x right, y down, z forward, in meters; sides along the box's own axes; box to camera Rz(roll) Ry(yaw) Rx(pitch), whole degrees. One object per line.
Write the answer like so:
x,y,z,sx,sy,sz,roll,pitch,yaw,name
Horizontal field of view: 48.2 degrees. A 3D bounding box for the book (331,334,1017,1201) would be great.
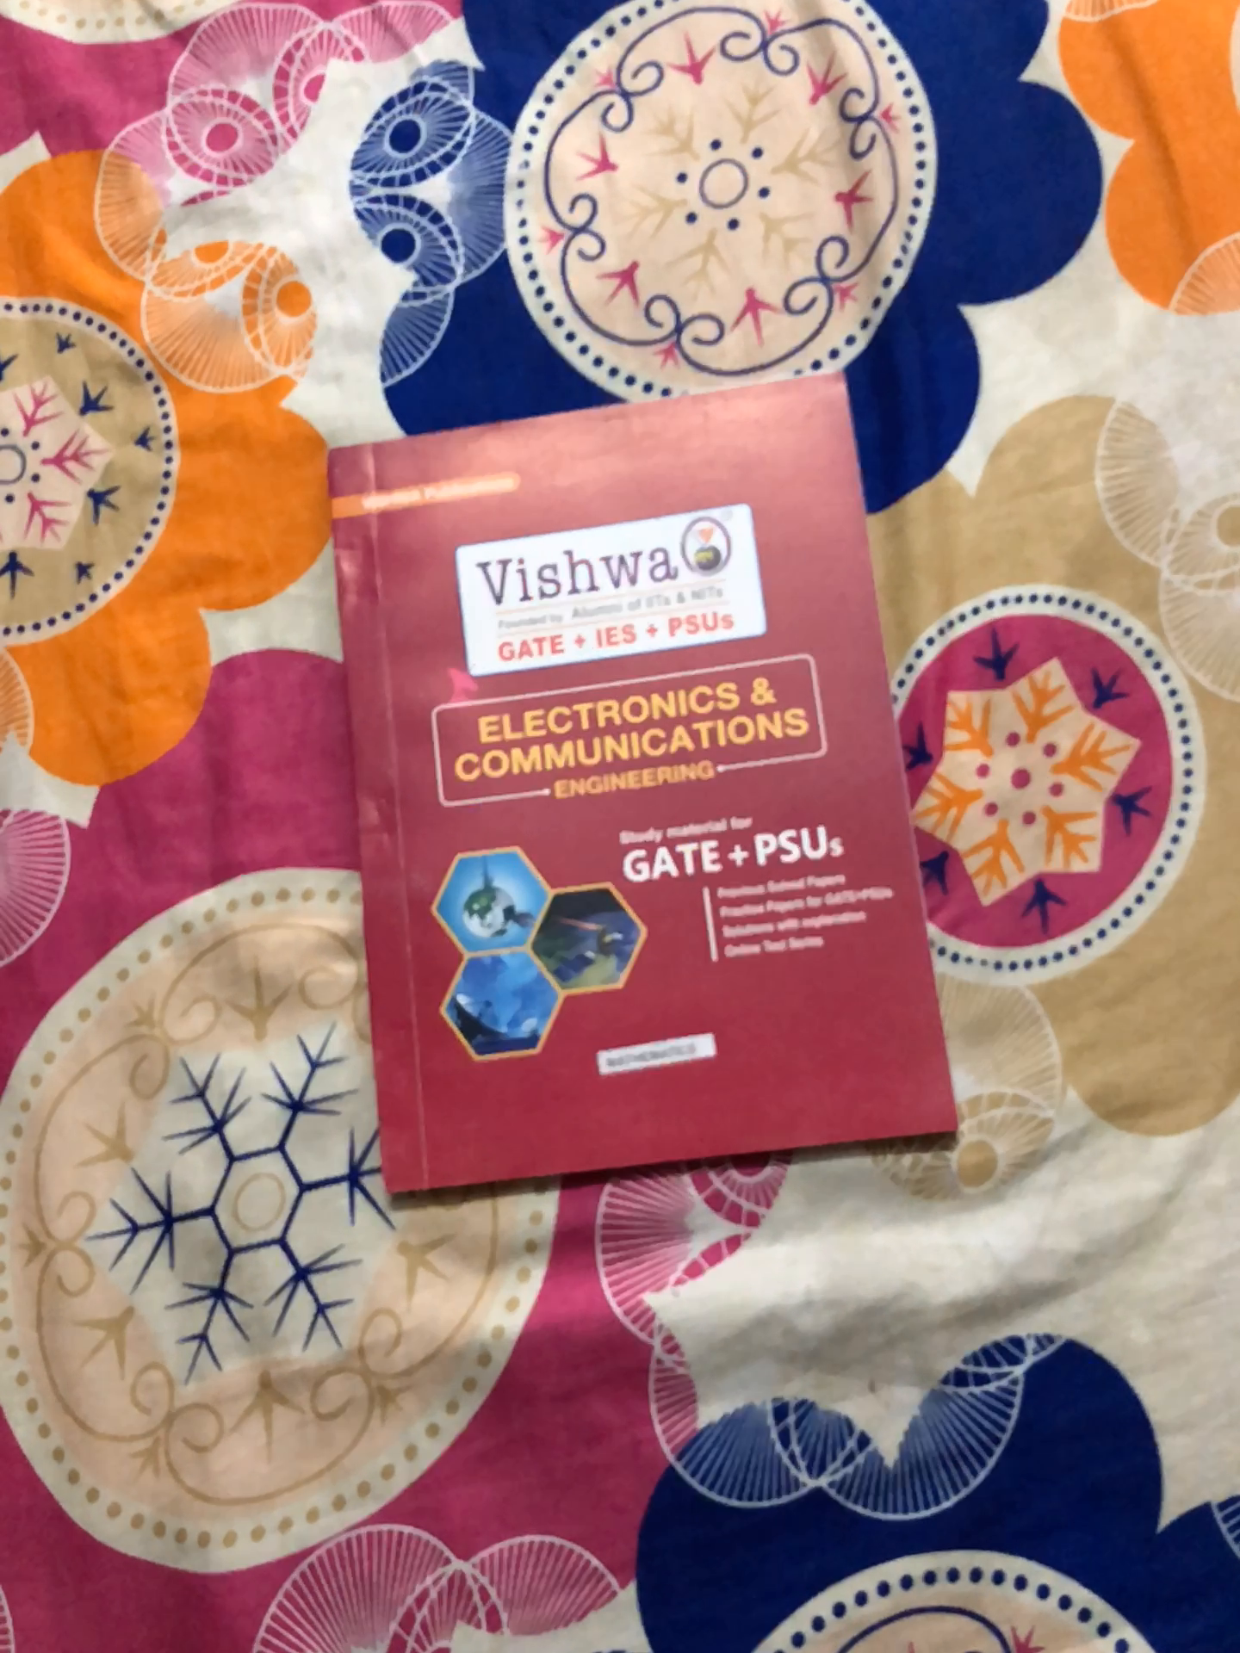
0.012,-0.026,0.519,0.217,0.030,0.300,-7,78,3,book
